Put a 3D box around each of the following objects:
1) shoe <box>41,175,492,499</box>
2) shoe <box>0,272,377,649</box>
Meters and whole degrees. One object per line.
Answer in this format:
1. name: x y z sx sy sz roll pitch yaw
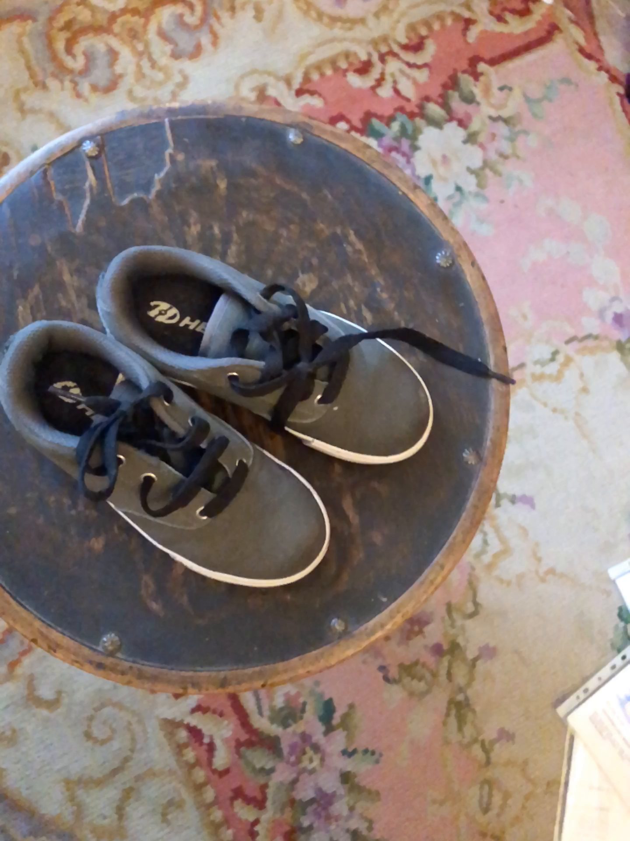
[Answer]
1. shoe: -0.026 -0.038 0.406 0.211 0.100 0.090 23 81 -1
2. shoe: -0.086 0.025 0.398 0.211 0.100 0.090 32 81 0
